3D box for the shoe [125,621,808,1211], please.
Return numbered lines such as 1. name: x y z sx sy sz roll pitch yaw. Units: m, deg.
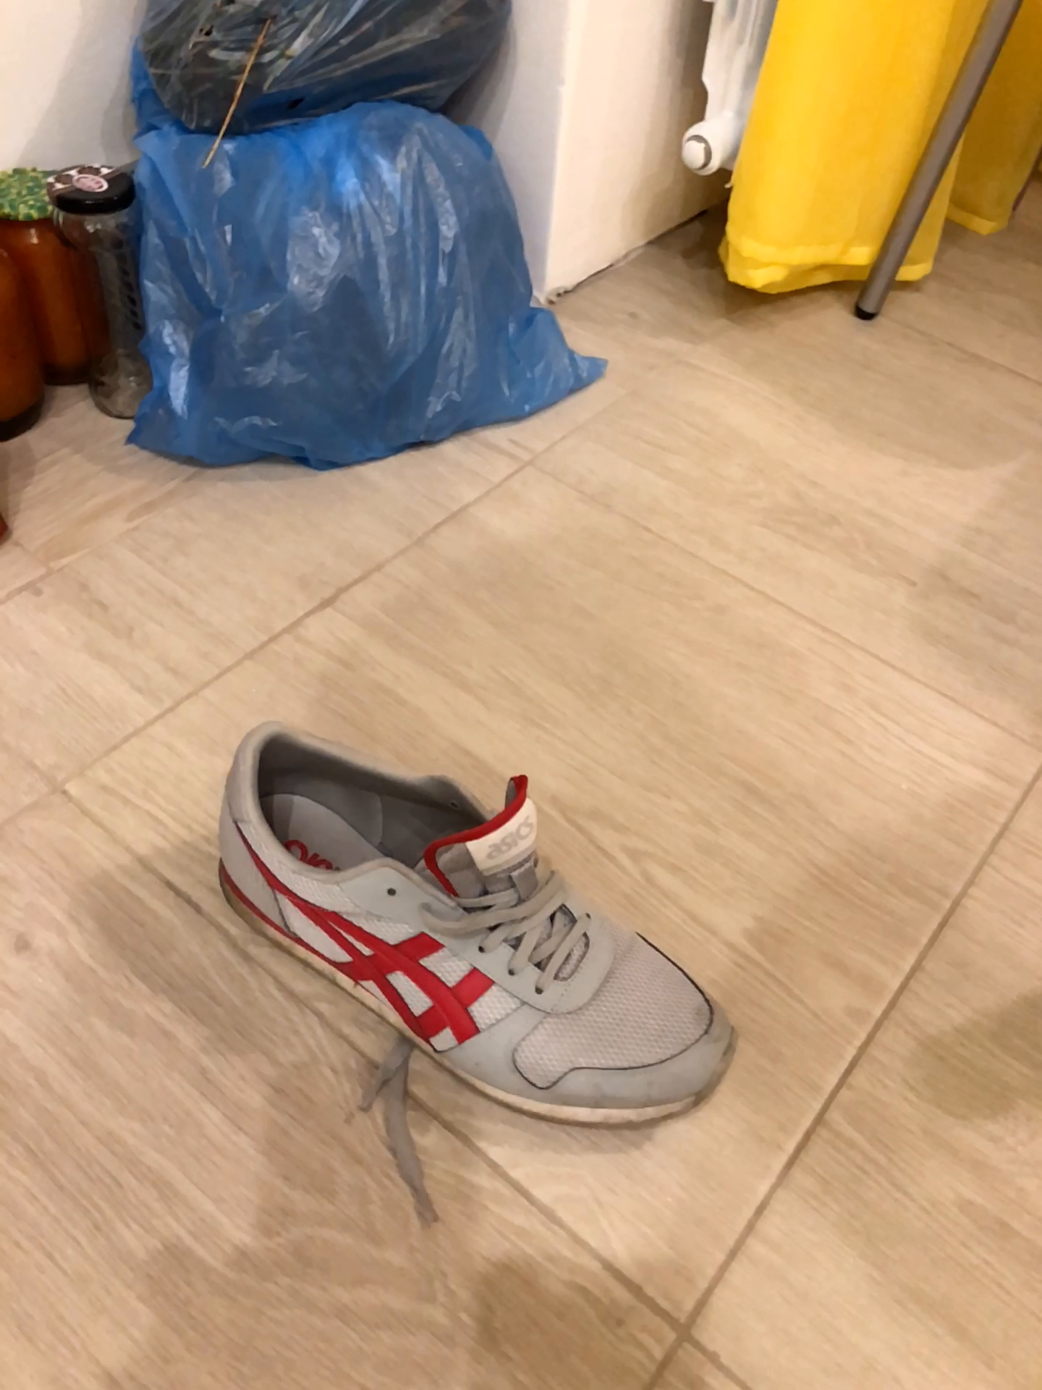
1. shoe: -0.033 0.102 0.566 0.298 0.129 0.111 26 50 17
